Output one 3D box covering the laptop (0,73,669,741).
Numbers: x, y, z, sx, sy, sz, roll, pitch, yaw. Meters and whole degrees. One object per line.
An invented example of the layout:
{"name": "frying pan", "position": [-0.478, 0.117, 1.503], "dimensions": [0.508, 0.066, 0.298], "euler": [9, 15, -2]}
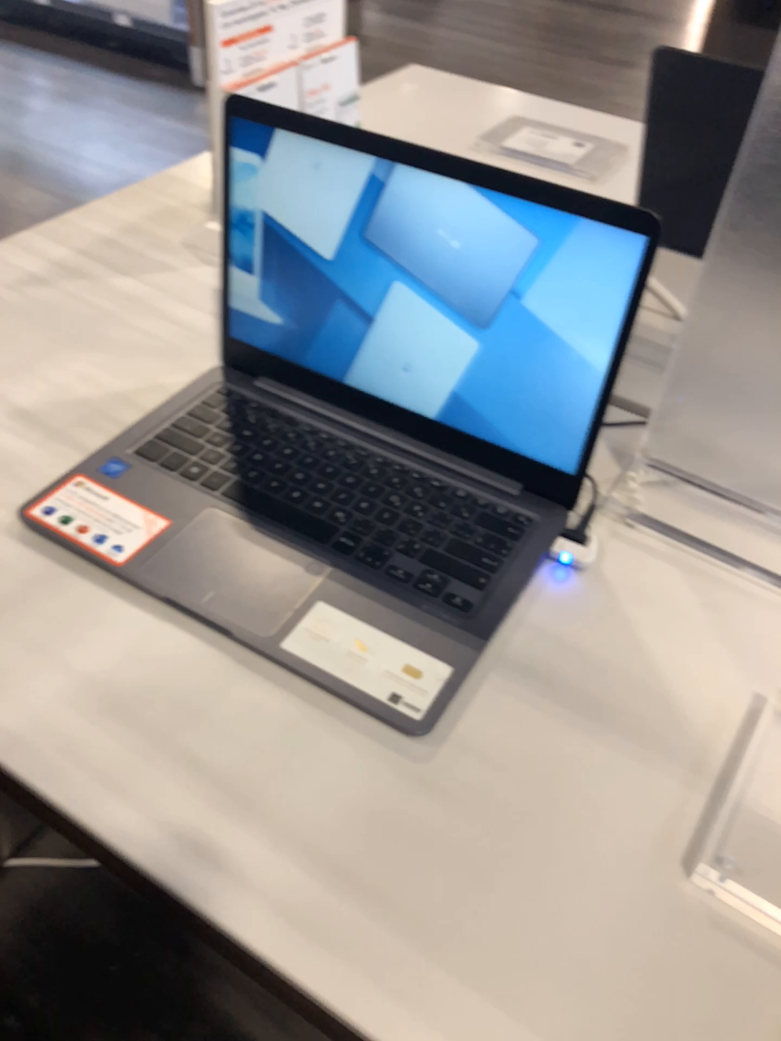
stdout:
{"name": "laptop", "position": [-0.040, -0.106, 0.580], "dimensions": [0.333, 0.180, 0.301], "euler": [24, 51, 18]}
